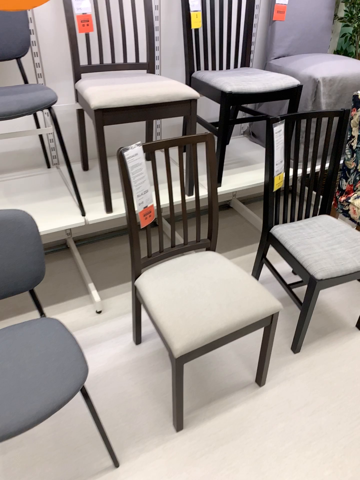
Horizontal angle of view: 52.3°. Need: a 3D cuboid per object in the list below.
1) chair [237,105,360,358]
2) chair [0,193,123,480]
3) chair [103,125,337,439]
[{"bbox_3d":[0.646,-0.042,1.646,0.480,0.916,0.532,-12,37,-18],"label":"chair"},{"bbox_3d":[-0.590,0.401,1.116,0.571,0.786,0.612,-19,40,-26],"label":"chair"},{"bbox_3d":[0.079,0.145,1.351,0.480,0.916,0.532,-17,39,-24],"label":"chair"}]
